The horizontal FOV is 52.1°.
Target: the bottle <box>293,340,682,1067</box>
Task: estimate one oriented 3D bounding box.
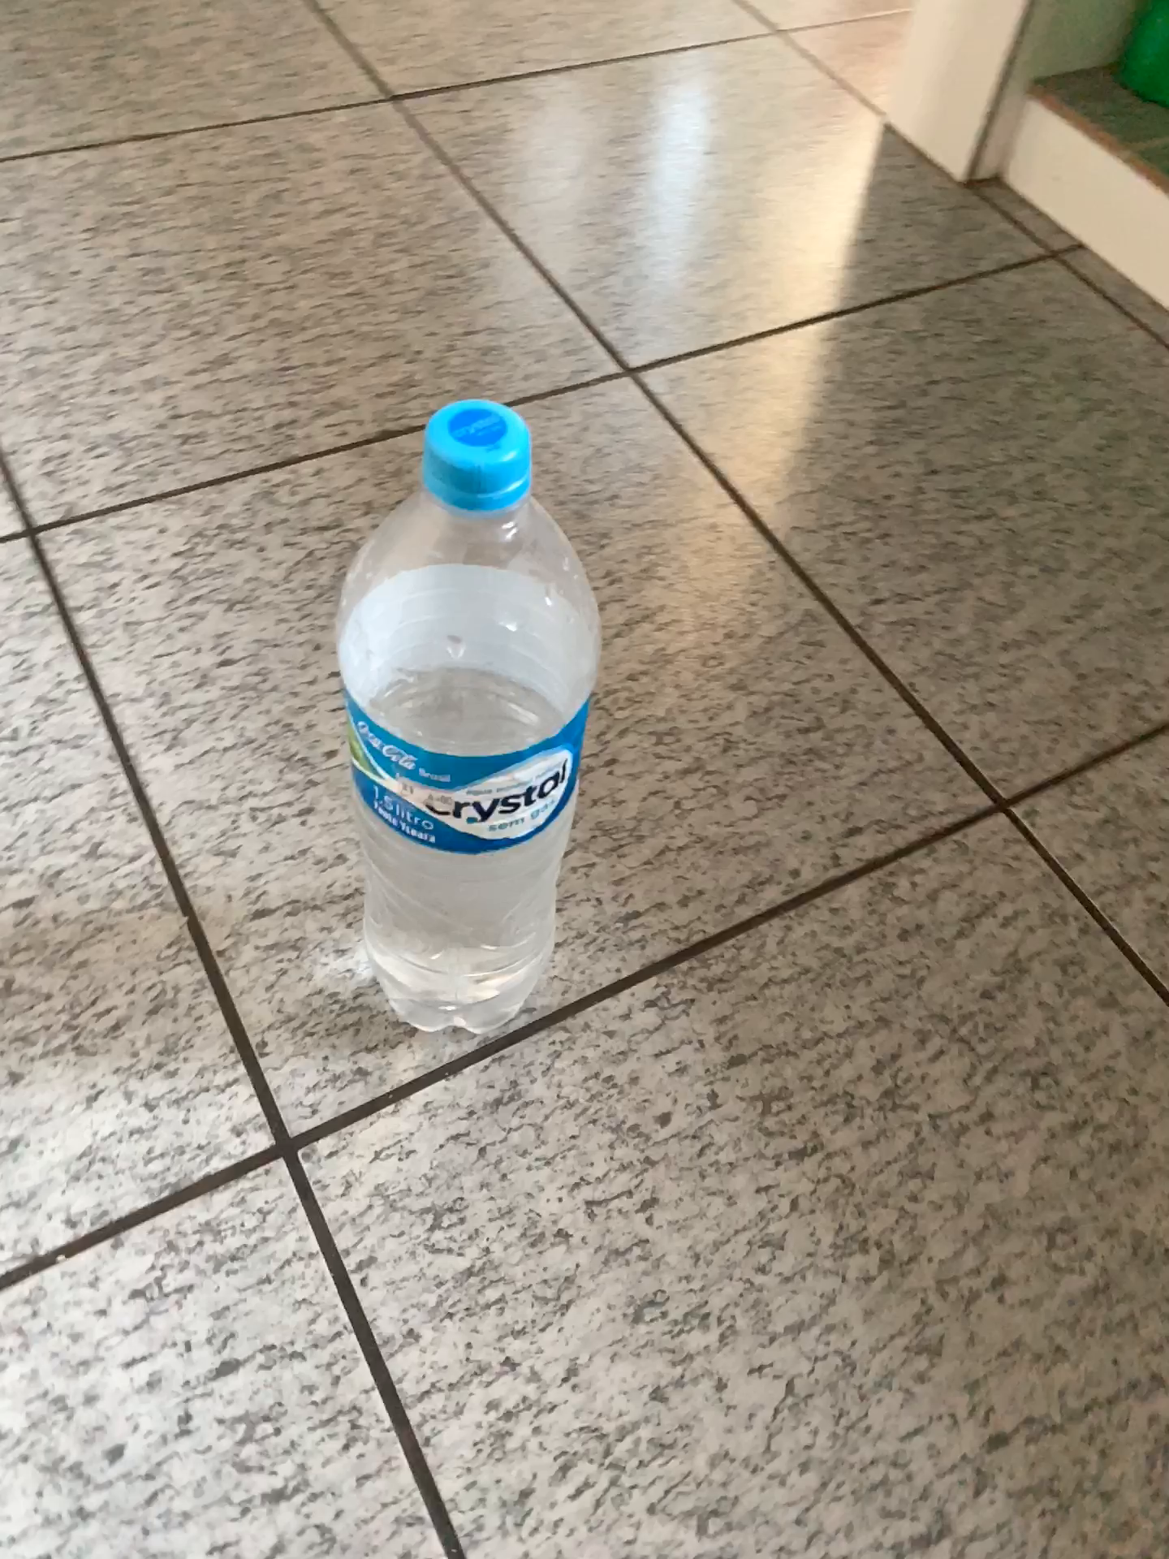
[{"bbox_3d":[-0.042,-0.001,0.439,0.090,0.299,0.090,3,54,-4],"label":"bottle"}]
